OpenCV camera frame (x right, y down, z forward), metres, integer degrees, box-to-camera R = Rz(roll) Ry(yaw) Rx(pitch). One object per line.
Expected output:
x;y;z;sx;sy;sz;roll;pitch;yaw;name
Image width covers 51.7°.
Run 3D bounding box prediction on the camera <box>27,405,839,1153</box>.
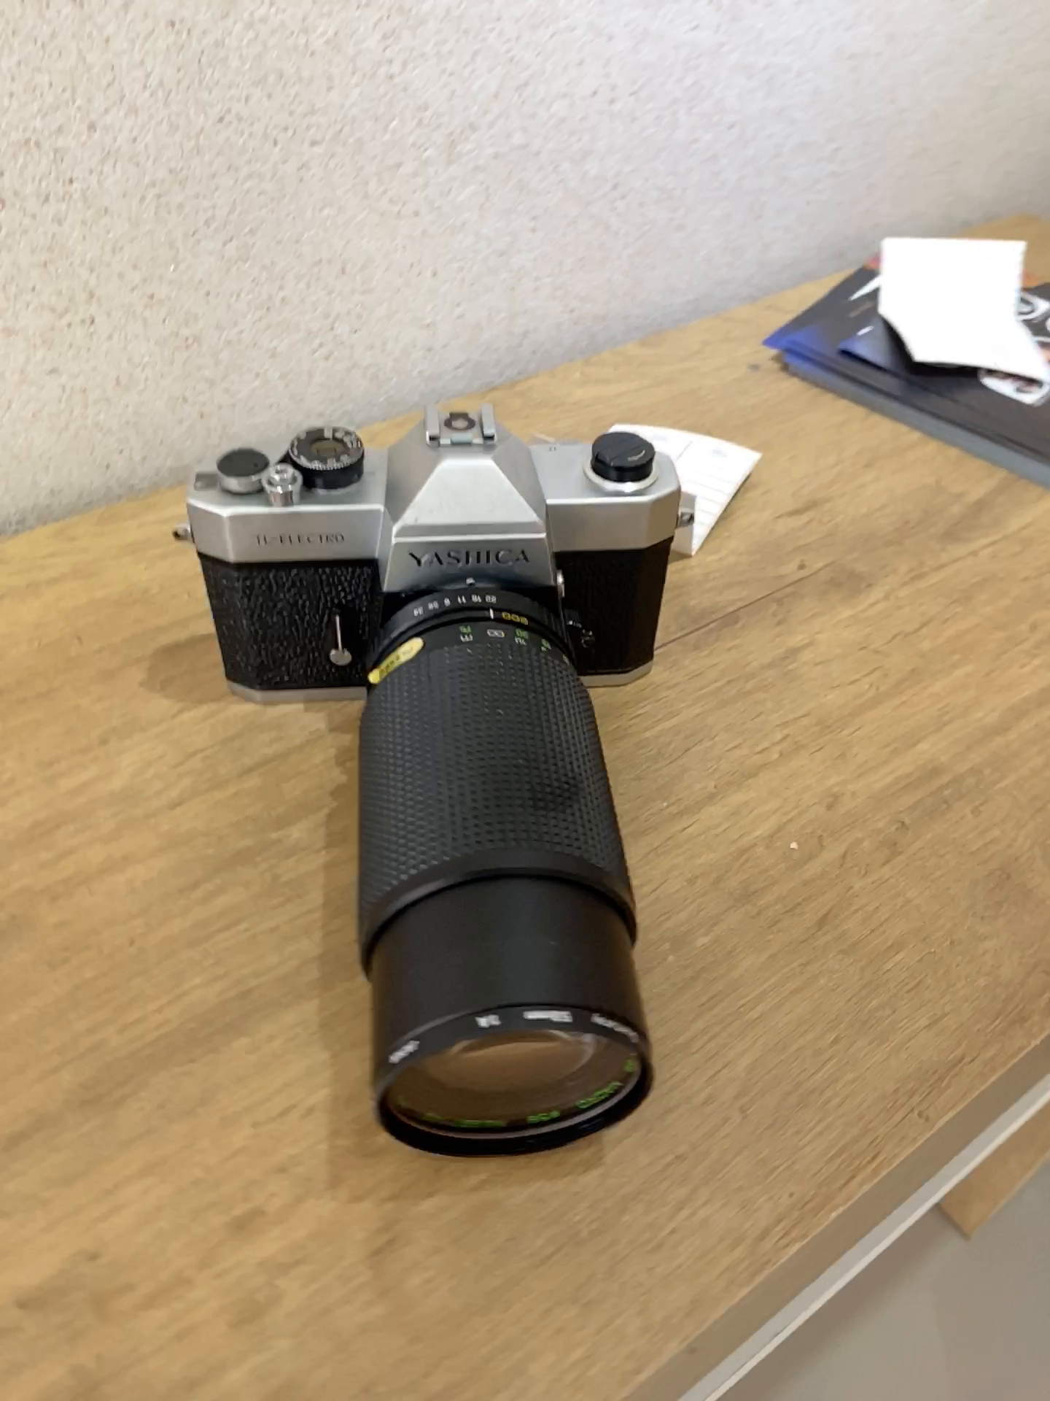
-0.020;0.006;0.300;0.150;0.080;0.201;0;45;-2;camera
